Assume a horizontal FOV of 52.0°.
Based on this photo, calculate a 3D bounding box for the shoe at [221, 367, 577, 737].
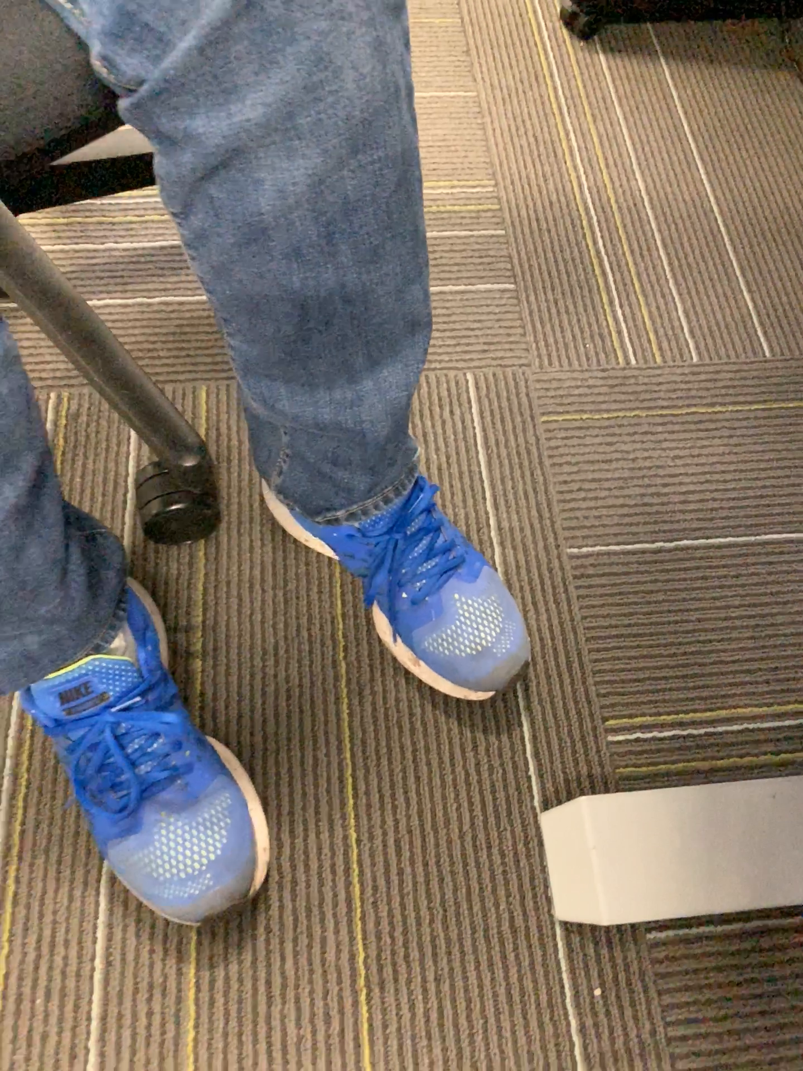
[{"bbox_3d":[-0.009,0.007,0.658,0.116,0.083,0.279,-37,70,-19],"label":"shoe"}]

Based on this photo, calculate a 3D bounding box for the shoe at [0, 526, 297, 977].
[{"bbox_3d":[-0.195,0.145,0.589,0.117,0.083,0.279,-28,67,-16],"label":"shoe"}]
